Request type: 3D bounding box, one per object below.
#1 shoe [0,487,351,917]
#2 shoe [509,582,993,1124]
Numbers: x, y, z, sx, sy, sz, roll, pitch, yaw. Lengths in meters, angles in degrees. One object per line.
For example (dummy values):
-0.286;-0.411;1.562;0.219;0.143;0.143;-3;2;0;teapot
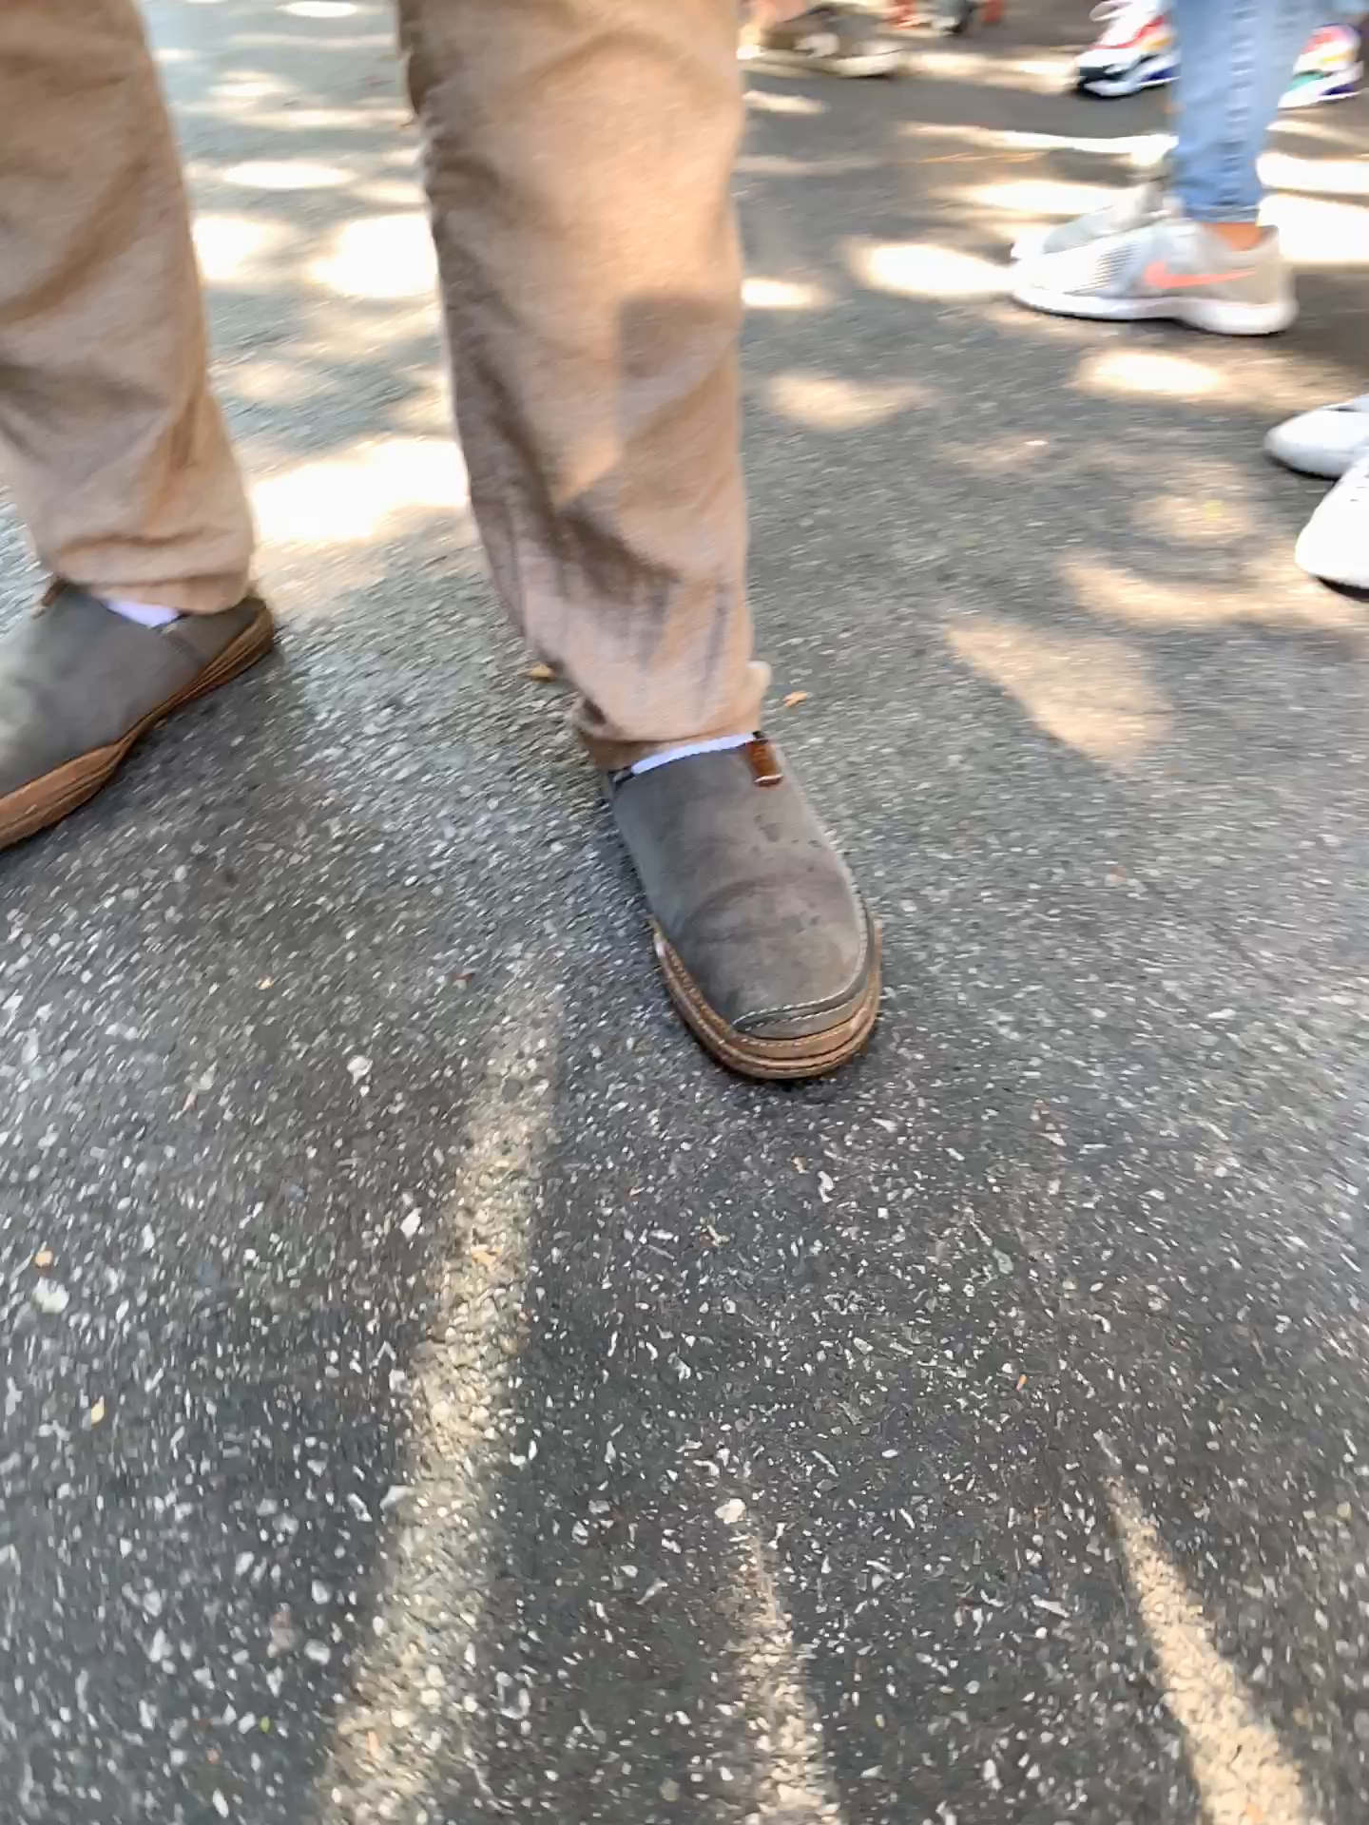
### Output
-0.320;-0.133;0.772;0.120;0.060;0.321;15;42;13;shoe
0.015;-0.051;0.714;0.120;0.080;0.322;-13;43;-18;shoe
